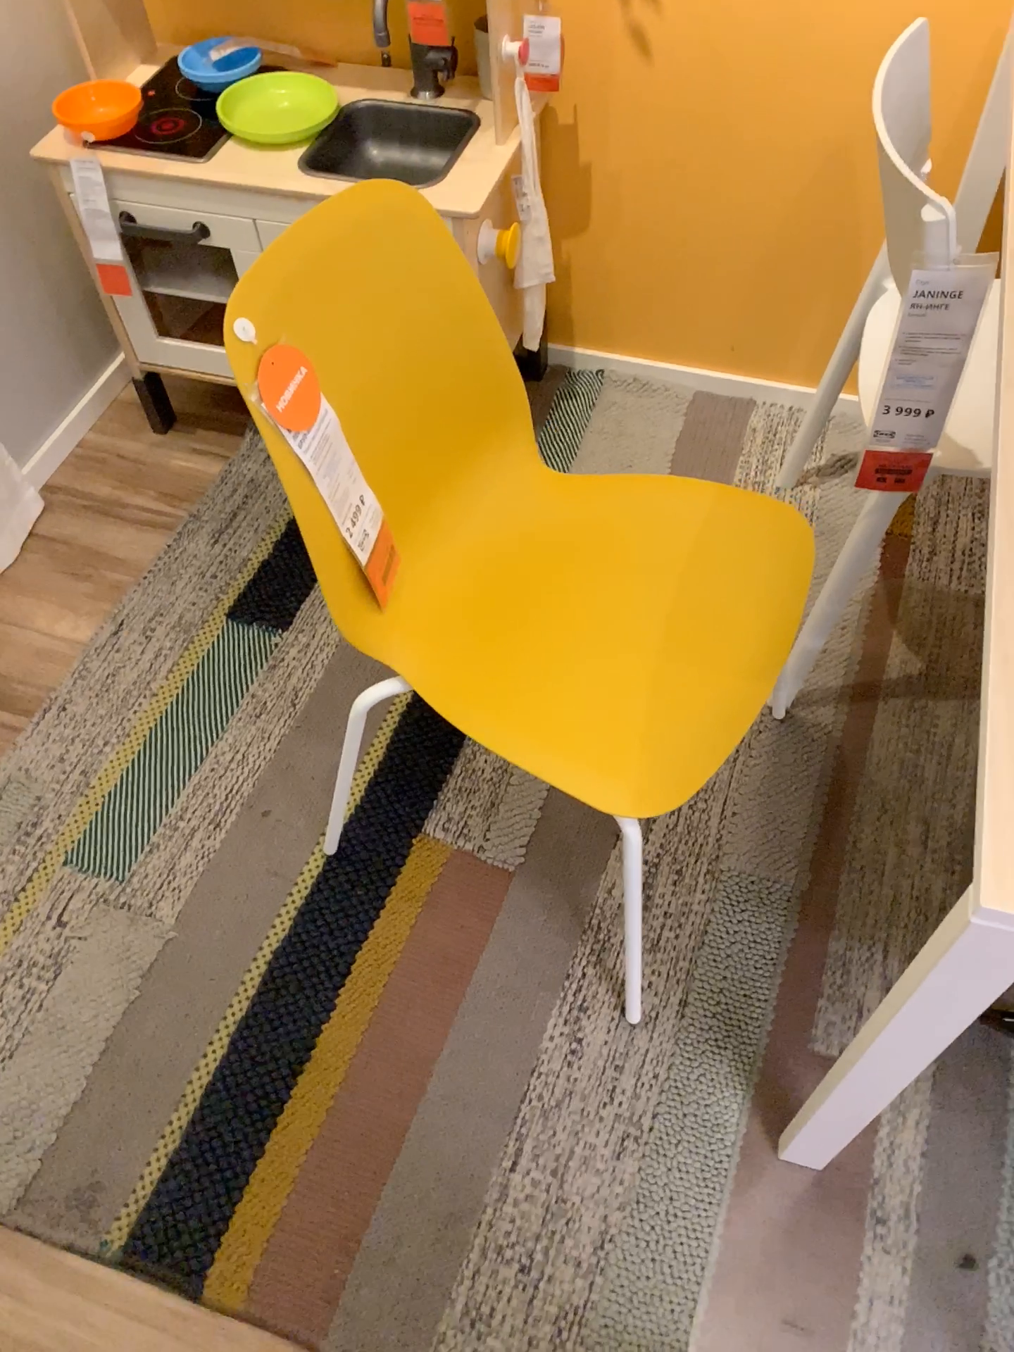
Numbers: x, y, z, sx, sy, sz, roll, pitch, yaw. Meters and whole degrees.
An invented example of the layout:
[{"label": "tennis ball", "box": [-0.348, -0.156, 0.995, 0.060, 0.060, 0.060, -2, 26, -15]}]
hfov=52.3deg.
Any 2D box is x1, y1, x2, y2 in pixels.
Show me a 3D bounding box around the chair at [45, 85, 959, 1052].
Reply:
[{"label": "chair", "box": [0.044, -0.070, 1.162, 0.555, 0.809, 0.559, 19, 58, 16]}]
